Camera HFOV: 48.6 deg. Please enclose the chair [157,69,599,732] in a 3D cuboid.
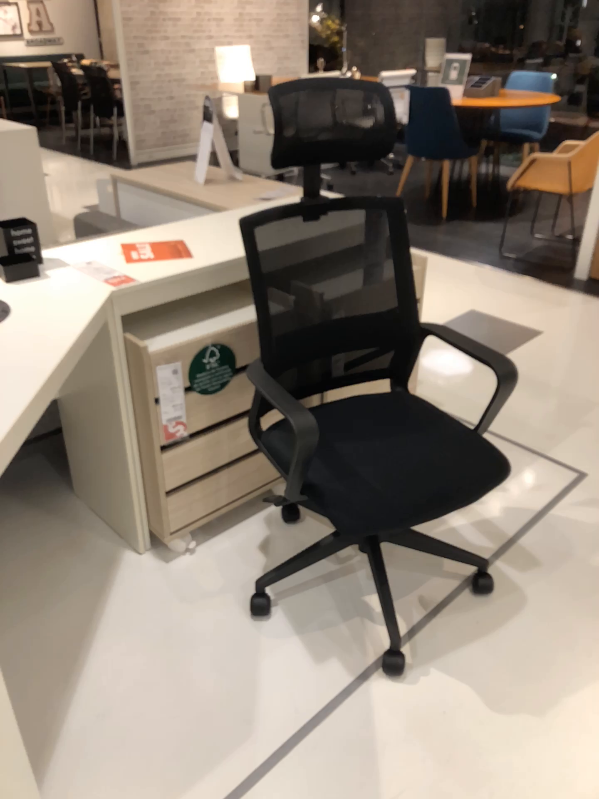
[{"bbox_3d":[0.179,-0.057,1.440,0.661,1.131,0.664,-16,33,-26],"label":"chair"}]
